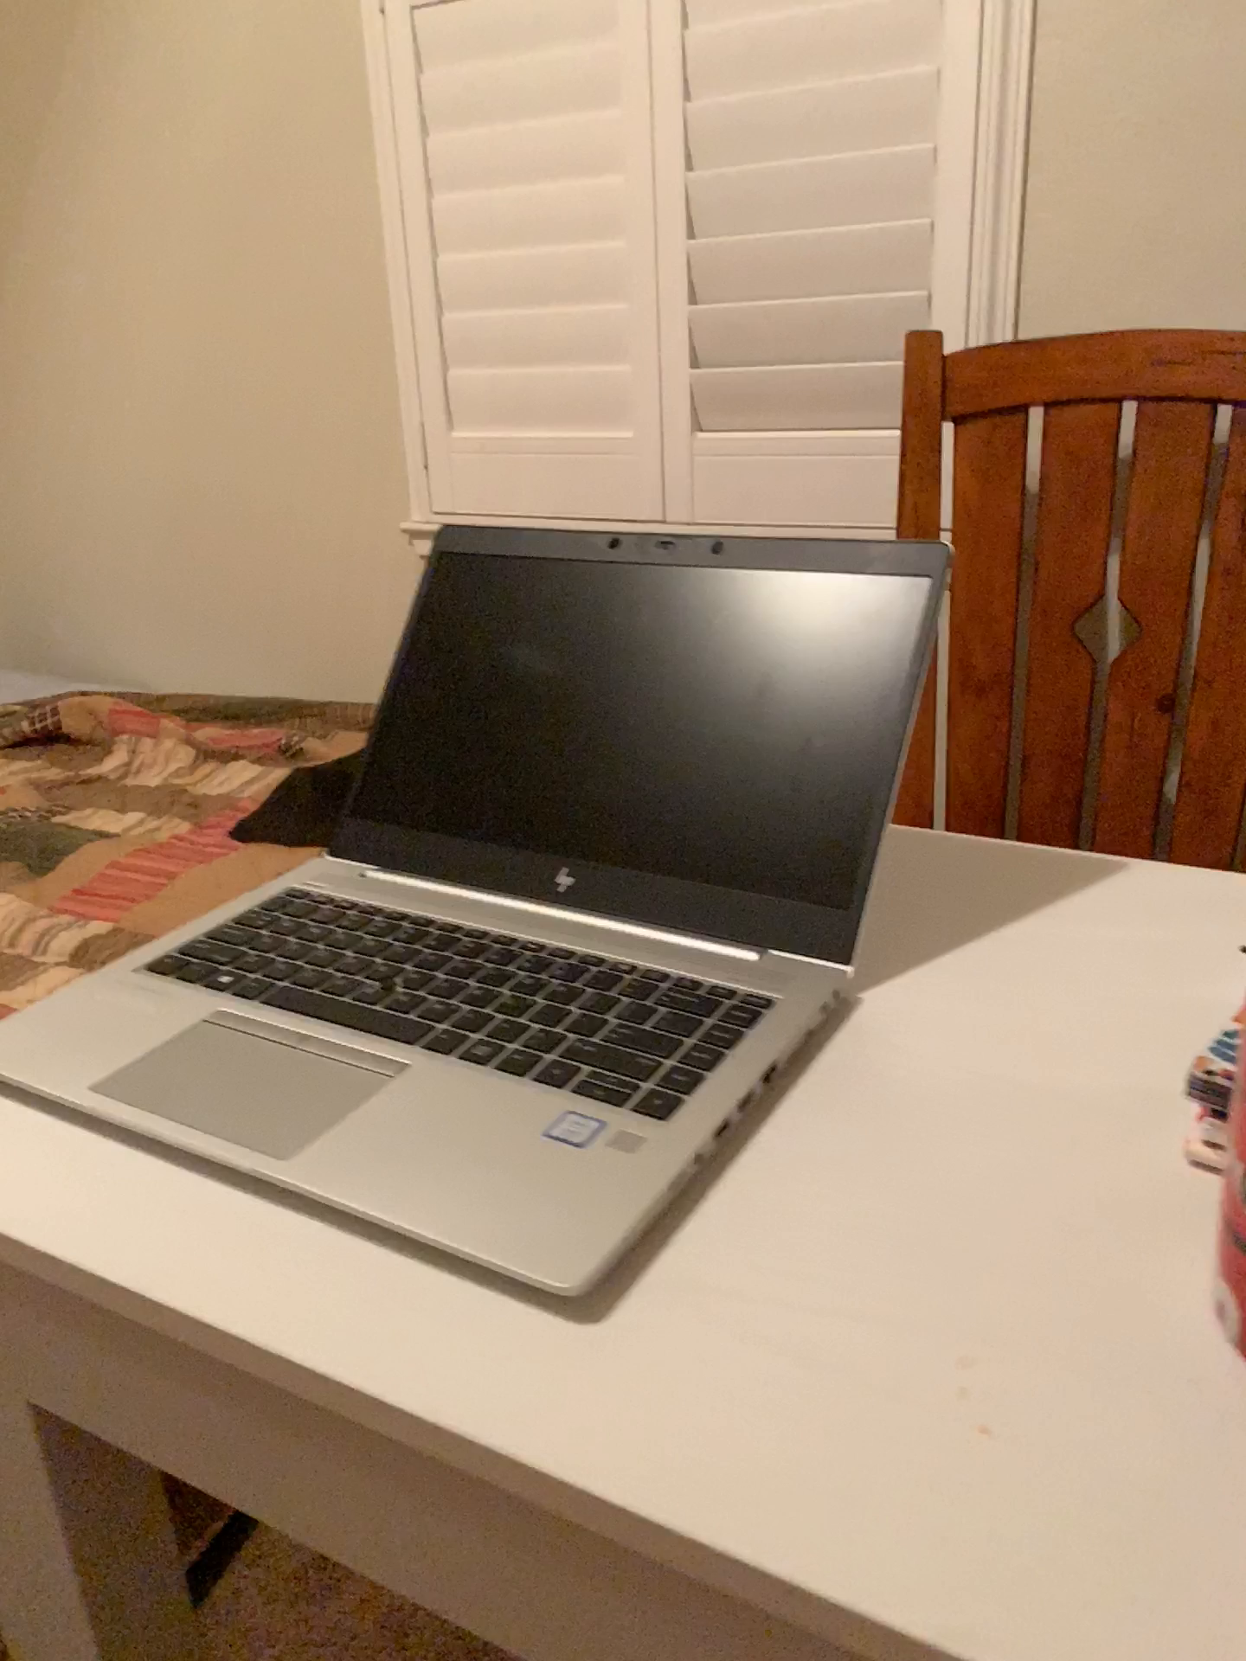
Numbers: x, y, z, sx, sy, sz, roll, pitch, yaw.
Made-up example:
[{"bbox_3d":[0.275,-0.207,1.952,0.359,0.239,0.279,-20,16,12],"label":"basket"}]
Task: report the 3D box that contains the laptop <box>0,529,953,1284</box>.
[{"bbox_3d":[-0.063,-0.022,0.577,0.310,0.159,0.366,10,24,29],"label":"laptop"}]
